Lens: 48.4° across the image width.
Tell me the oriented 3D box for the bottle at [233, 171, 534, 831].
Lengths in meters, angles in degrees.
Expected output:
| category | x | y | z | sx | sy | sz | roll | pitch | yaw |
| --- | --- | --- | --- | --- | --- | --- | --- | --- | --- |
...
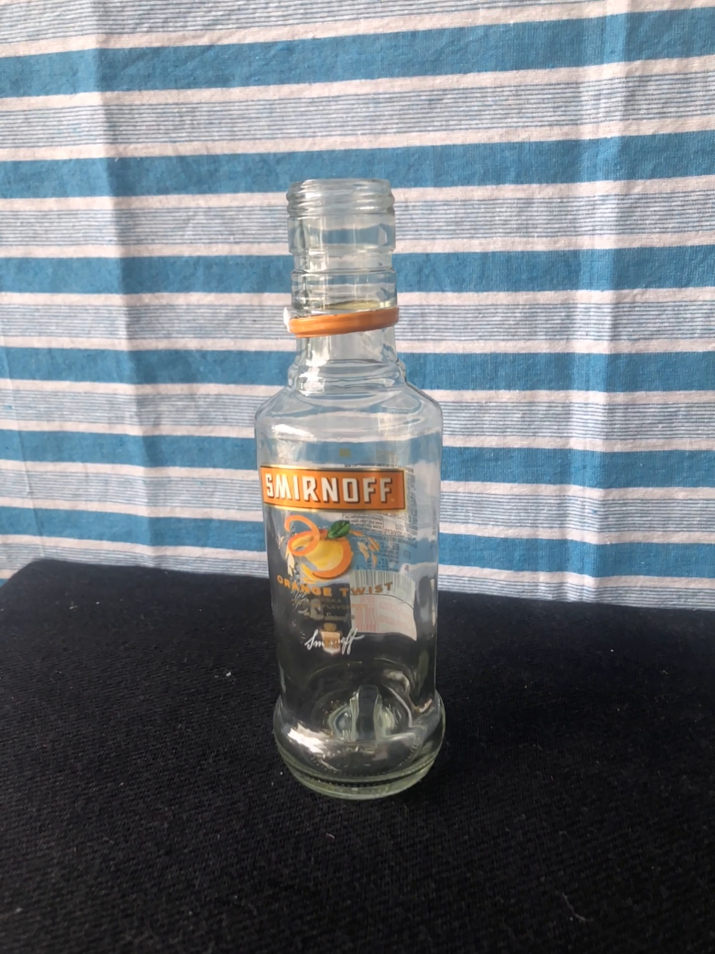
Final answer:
| category | x | y | z | sx | sy | sz | roll | pitch | yaw |
| --- | --- | --- | --- | --- | --- | --- | --- | --- | --- |
| bottle | 0.009 | 0.005 | 0.225 | 0.060 | 0.169 | 0.050 | 8 | 21 | 23 |
